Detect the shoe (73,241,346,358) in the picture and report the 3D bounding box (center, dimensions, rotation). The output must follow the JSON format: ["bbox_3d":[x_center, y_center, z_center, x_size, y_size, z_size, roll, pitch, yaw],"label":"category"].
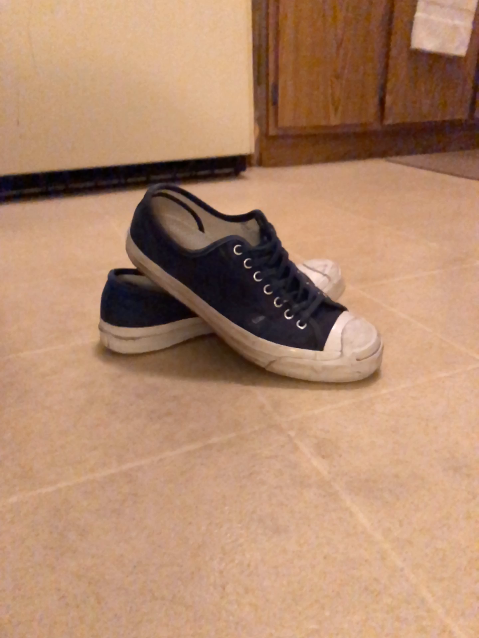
[{"bbox_3d":[-0.035,-0.033,0.615,0.290,0.080,0.111,-5,28,-24],"label":"shoe"}]

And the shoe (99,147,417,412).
[{"bbox_3d":[0.009,-0.044,0.530,0.290,0.099,0.101,30,52,10],"label":"shoe"}]
